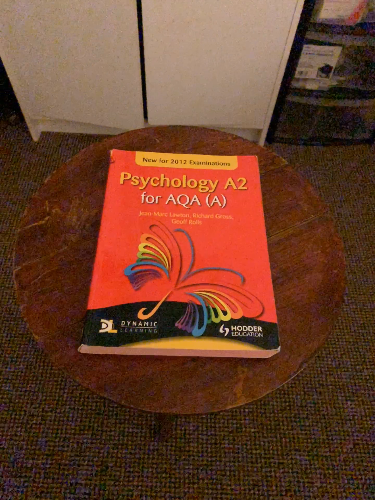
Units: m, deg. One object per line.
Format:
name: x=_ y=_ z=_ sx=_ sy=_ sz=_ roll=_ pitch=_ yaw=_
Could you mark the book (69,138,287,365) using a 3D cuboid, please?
book: x=-0.007 y=-0.016 z=0.466 sx=0.210 sy=0.040 sz=0.292 roll=2 pitch=57 yaw=-2
